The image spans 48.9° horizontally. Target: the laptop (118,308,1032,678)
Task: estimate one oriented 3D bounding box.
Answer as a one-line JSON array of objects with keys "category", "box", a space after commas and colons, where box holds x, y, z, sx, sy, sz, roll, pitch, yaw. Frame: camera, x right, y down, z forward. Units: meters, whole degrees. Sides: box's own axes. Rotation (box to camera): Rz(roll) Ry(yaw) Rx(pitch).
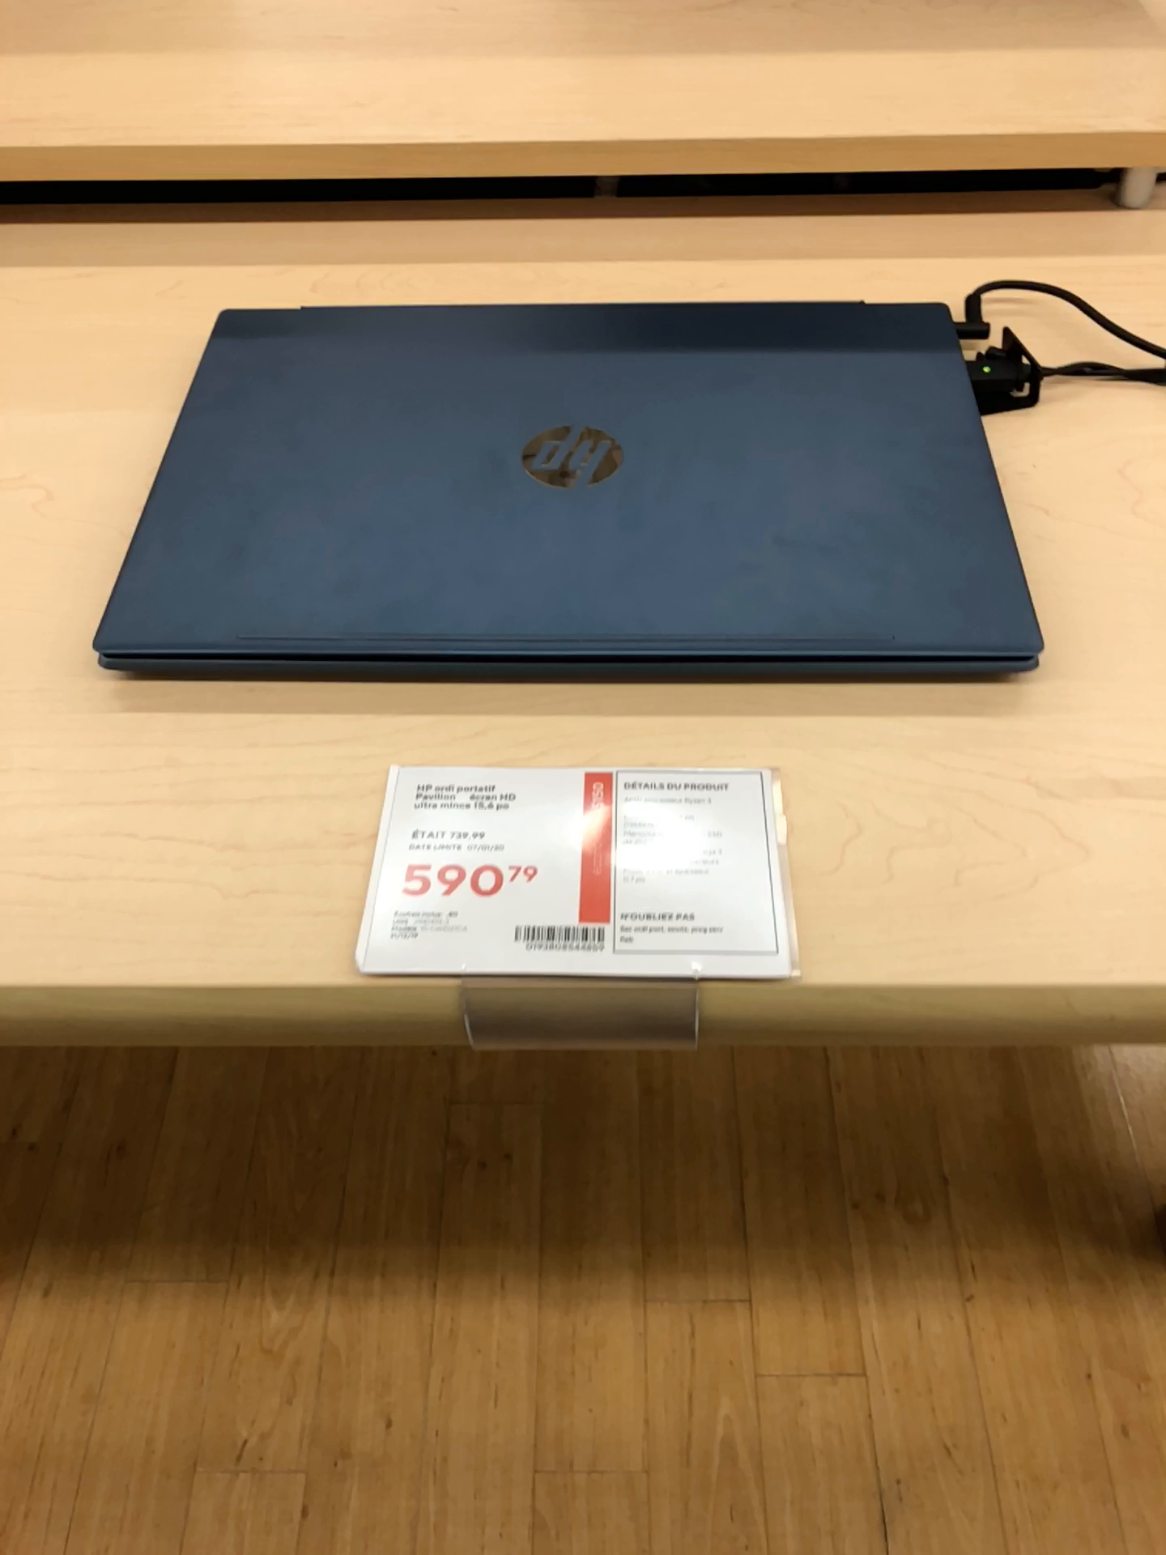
[{"category": "laptop", "box": [-0.006, -0.133, 0.563, 0.352, 0.012, 0.221, 0, 54, 3]}]
